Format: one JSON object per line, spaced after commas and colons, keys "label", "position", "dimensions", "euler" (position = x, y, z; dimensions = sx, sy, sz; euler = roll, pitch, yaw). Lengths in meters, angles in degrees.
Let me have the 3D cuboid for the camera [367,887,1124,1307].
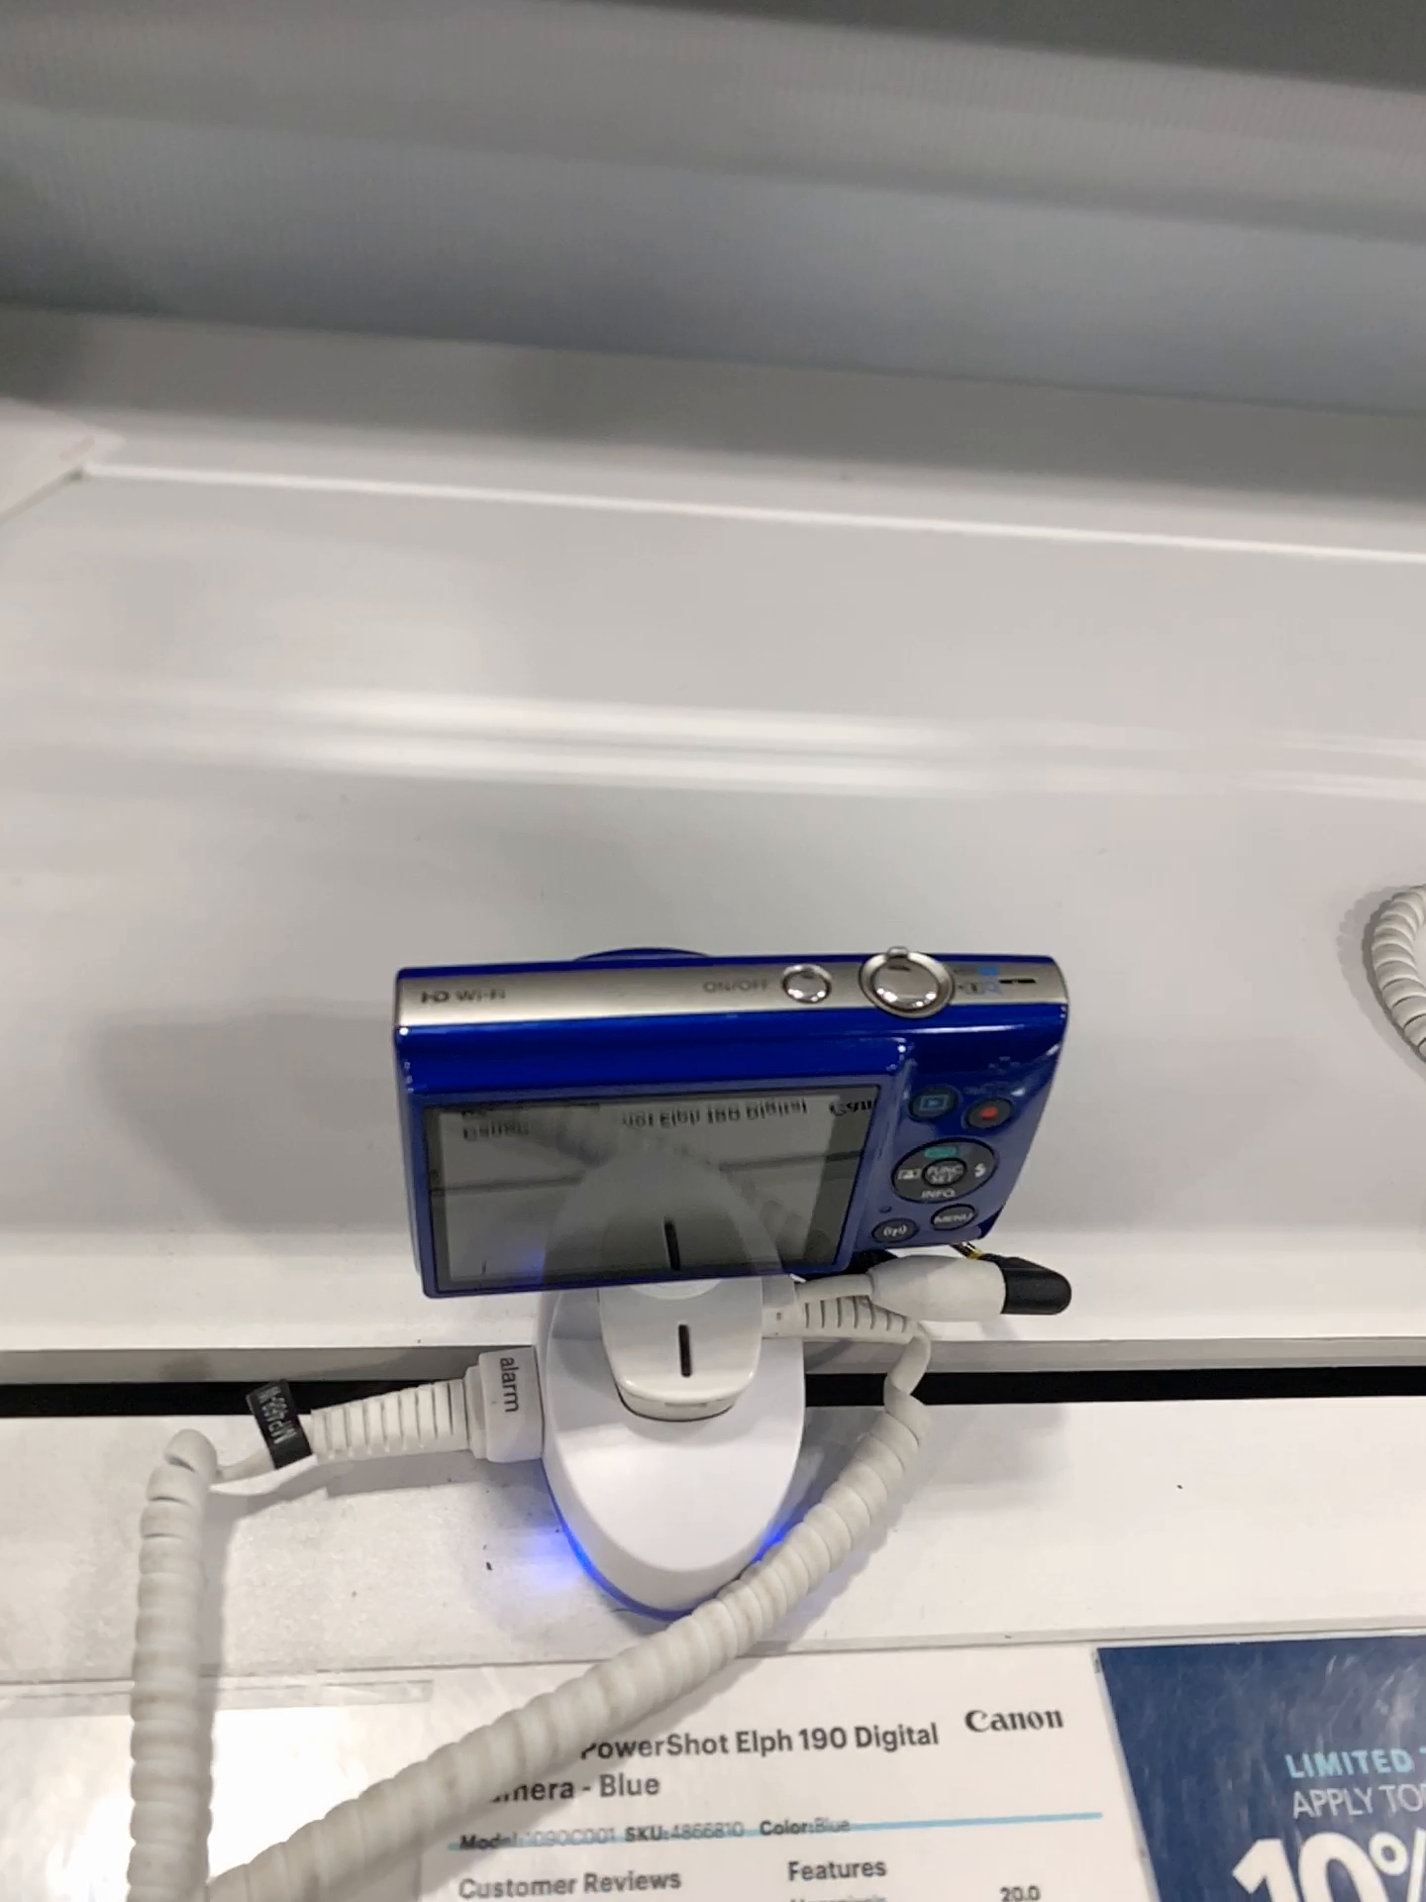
{"label": "camera", "position": [0.001, 0.022, 0.221], "dimensions": [0.100, 0.060, 0.027], "euler": [-2, 49, -12]}
